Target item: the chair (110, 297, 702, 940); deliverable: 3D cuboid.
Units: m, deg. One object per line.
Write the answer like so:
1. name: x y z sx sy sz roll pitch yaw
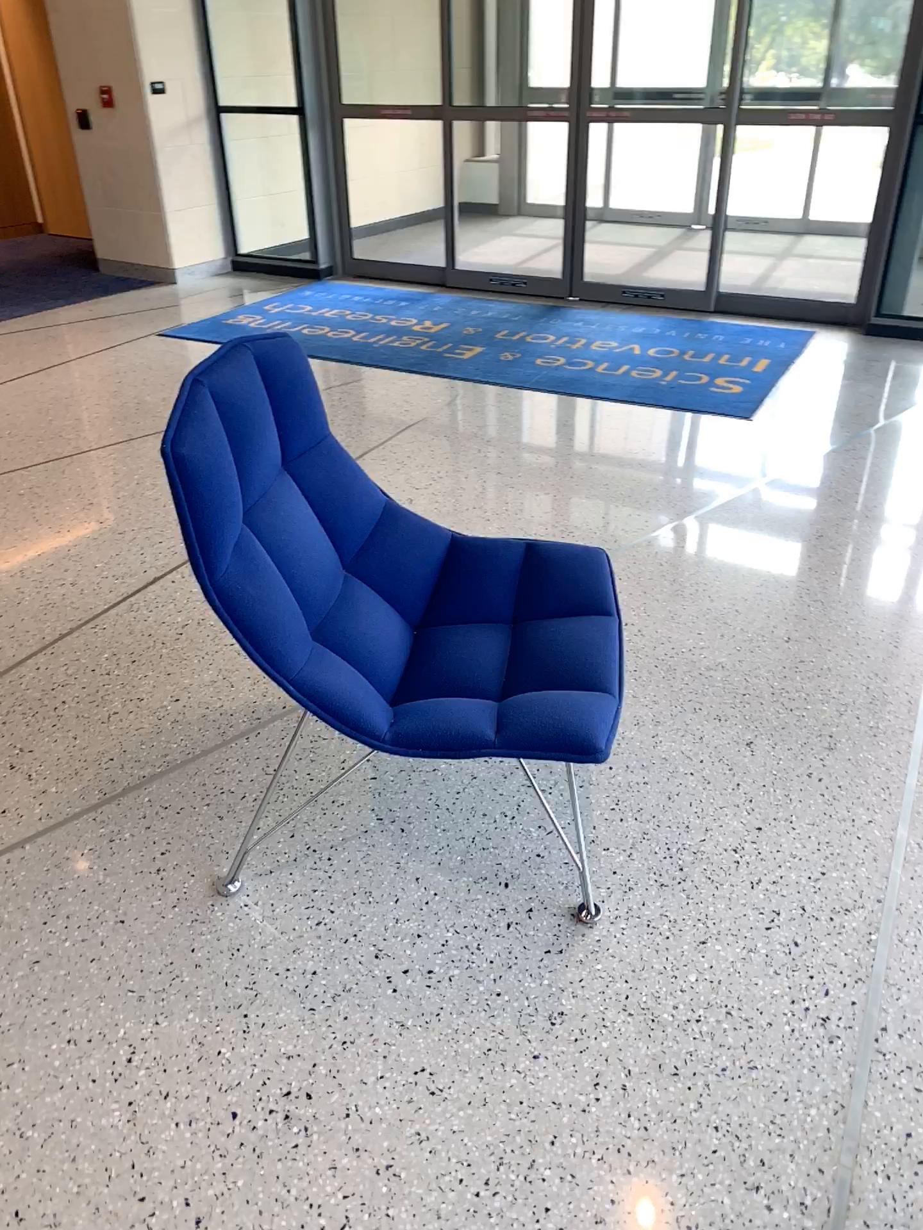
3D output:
1. chair: -0.034 -0.046 1.878 0.828 0.963 0.805 3 30 7
